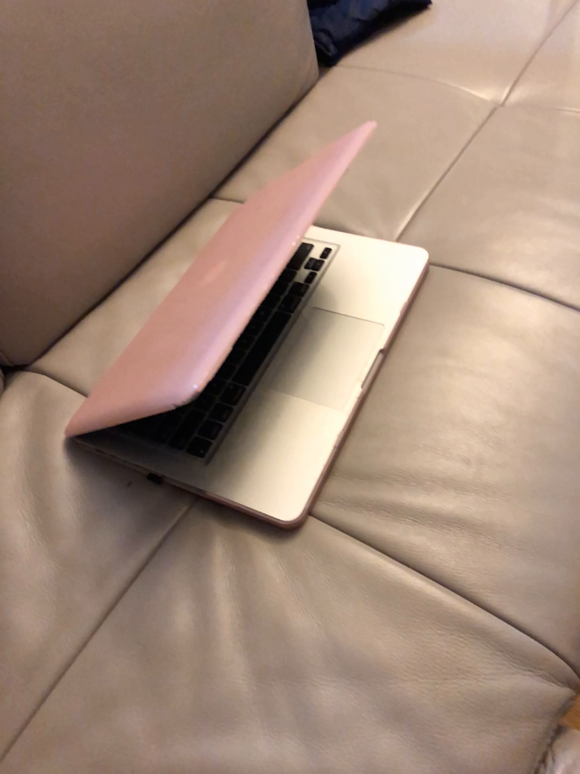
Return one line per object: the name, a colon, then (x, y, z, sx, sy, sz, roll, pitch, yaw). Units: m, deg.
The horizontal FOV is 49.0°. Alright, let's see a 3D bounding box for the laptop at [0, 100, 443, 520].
laptop: (-0.033, -0.085, 0.541, 0.220, 0.145, 0.308, 17, 58, 20)
